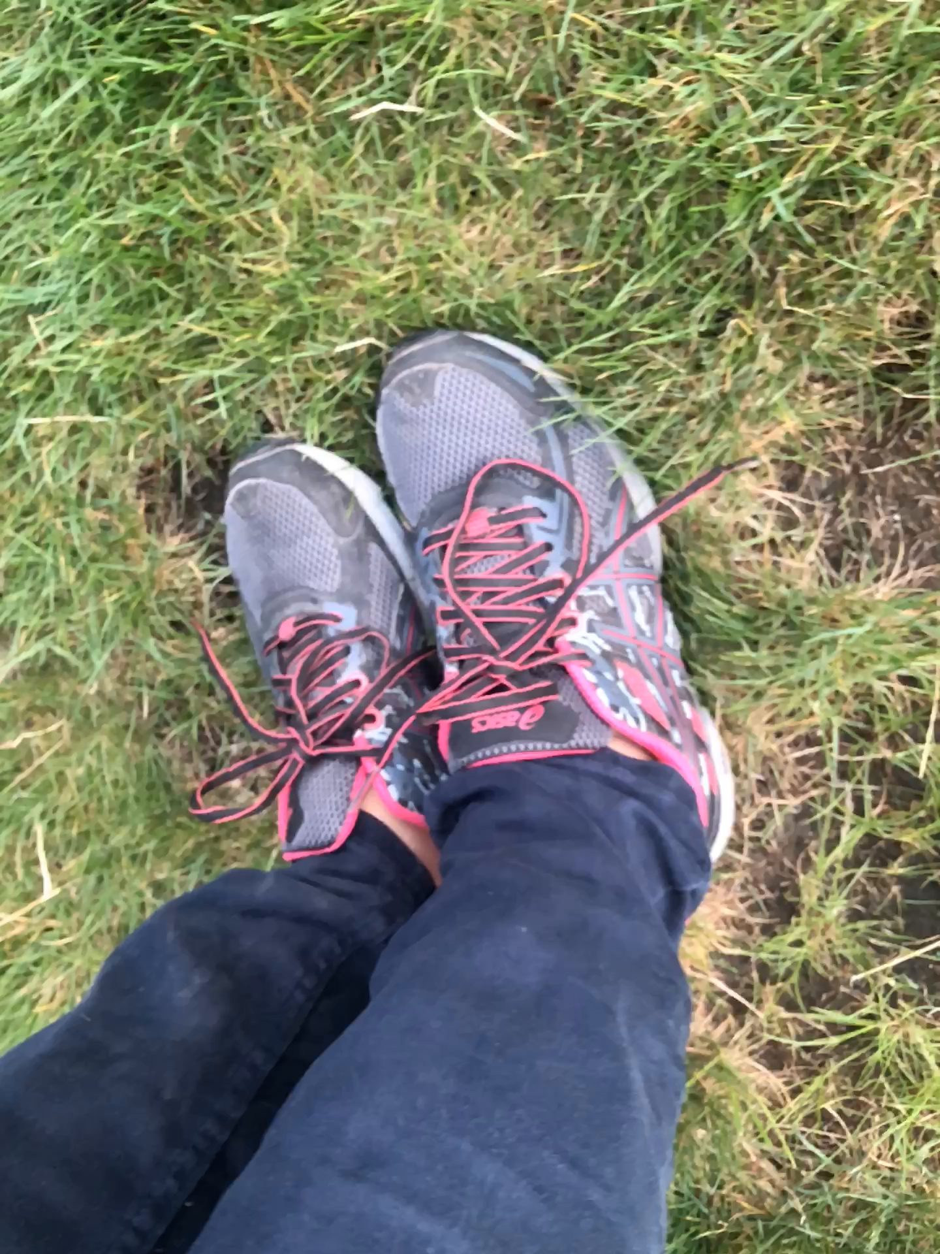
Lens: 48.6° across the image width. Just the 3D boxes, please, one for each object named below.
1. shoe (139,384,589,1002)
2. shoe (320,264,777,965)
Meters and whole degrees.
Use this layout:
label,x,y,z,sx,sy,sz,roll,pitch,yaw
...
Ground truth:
label,x,y,z,sx,sy,sz,roll,pitch,yaw
shoe,-0.041,0.025,0.483,0.088,0.120,0.245,-18,91,26
shoe,0.043,-0.007,0.444,0.090,0.120,0.250,-17,94,23
